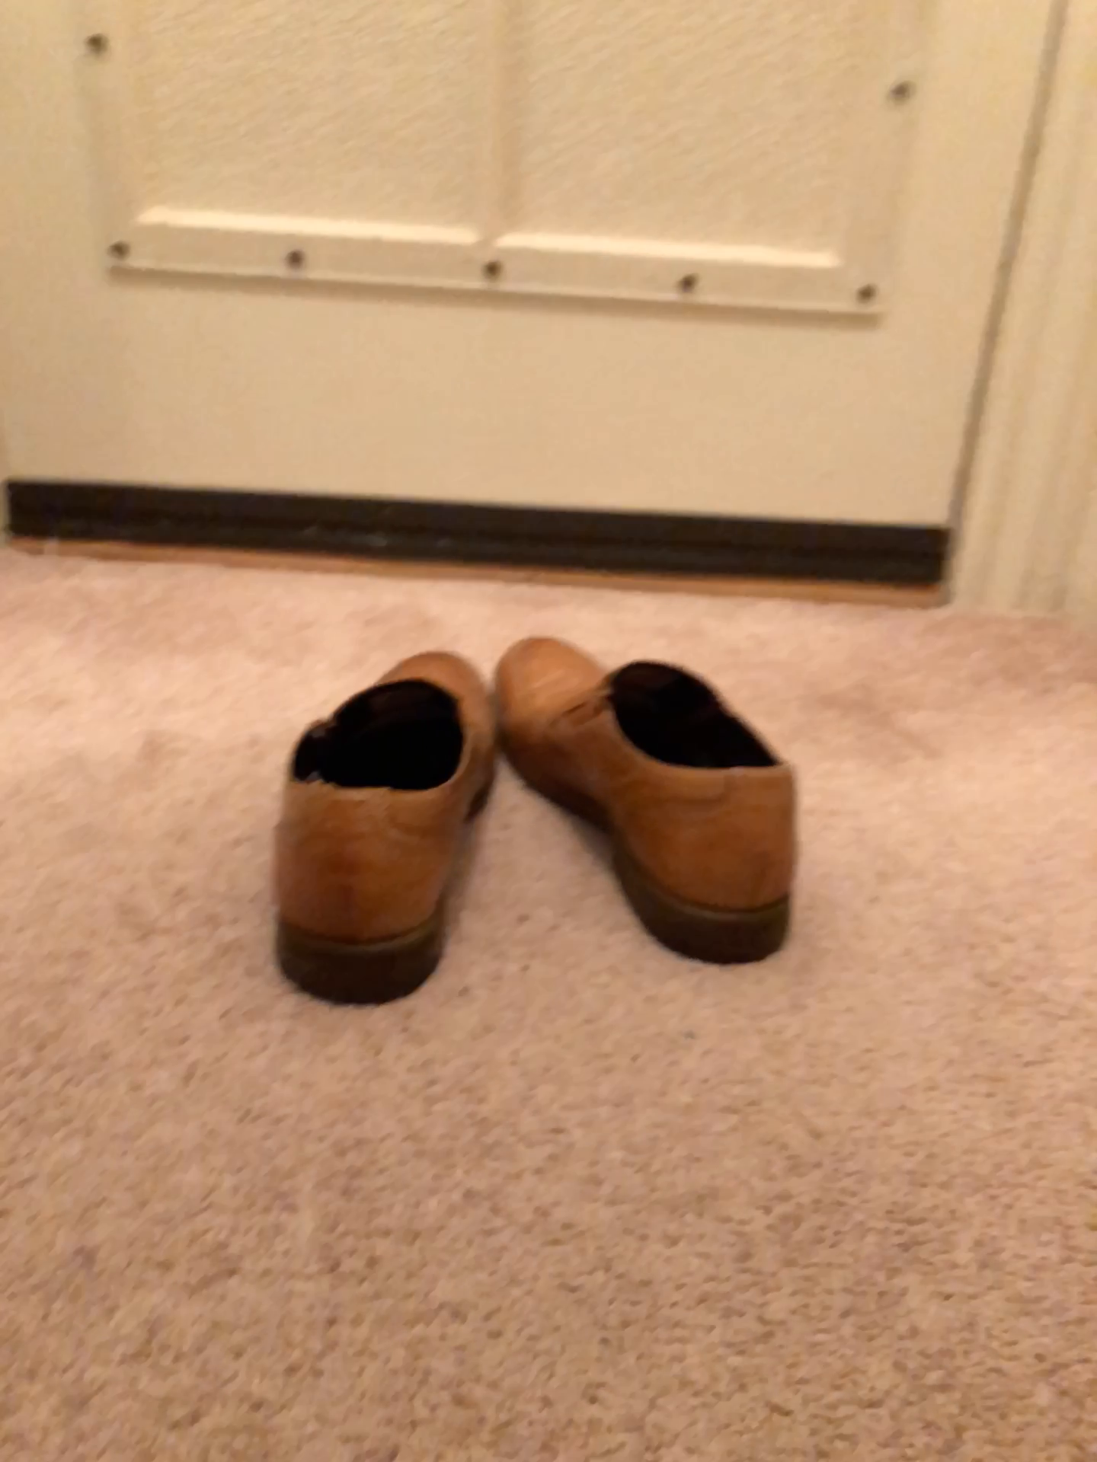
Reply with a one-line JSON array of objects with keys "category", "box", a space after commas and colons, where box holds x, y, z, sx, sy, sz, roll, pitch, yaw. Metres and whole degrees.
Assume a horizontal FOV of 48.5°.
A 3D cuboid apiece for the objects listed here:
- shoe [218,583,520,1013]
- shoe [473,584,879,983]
[{"category": "shoe", "box": [-0.076, 0.012, 0.640, 0.100, 0.090, 0.322, 4, 22, 1]}, {"category": "shoe", "box": [0.047, 0.007, 0.673, 0.107, 0.089, 0.312, -5, 24, -16]}]
